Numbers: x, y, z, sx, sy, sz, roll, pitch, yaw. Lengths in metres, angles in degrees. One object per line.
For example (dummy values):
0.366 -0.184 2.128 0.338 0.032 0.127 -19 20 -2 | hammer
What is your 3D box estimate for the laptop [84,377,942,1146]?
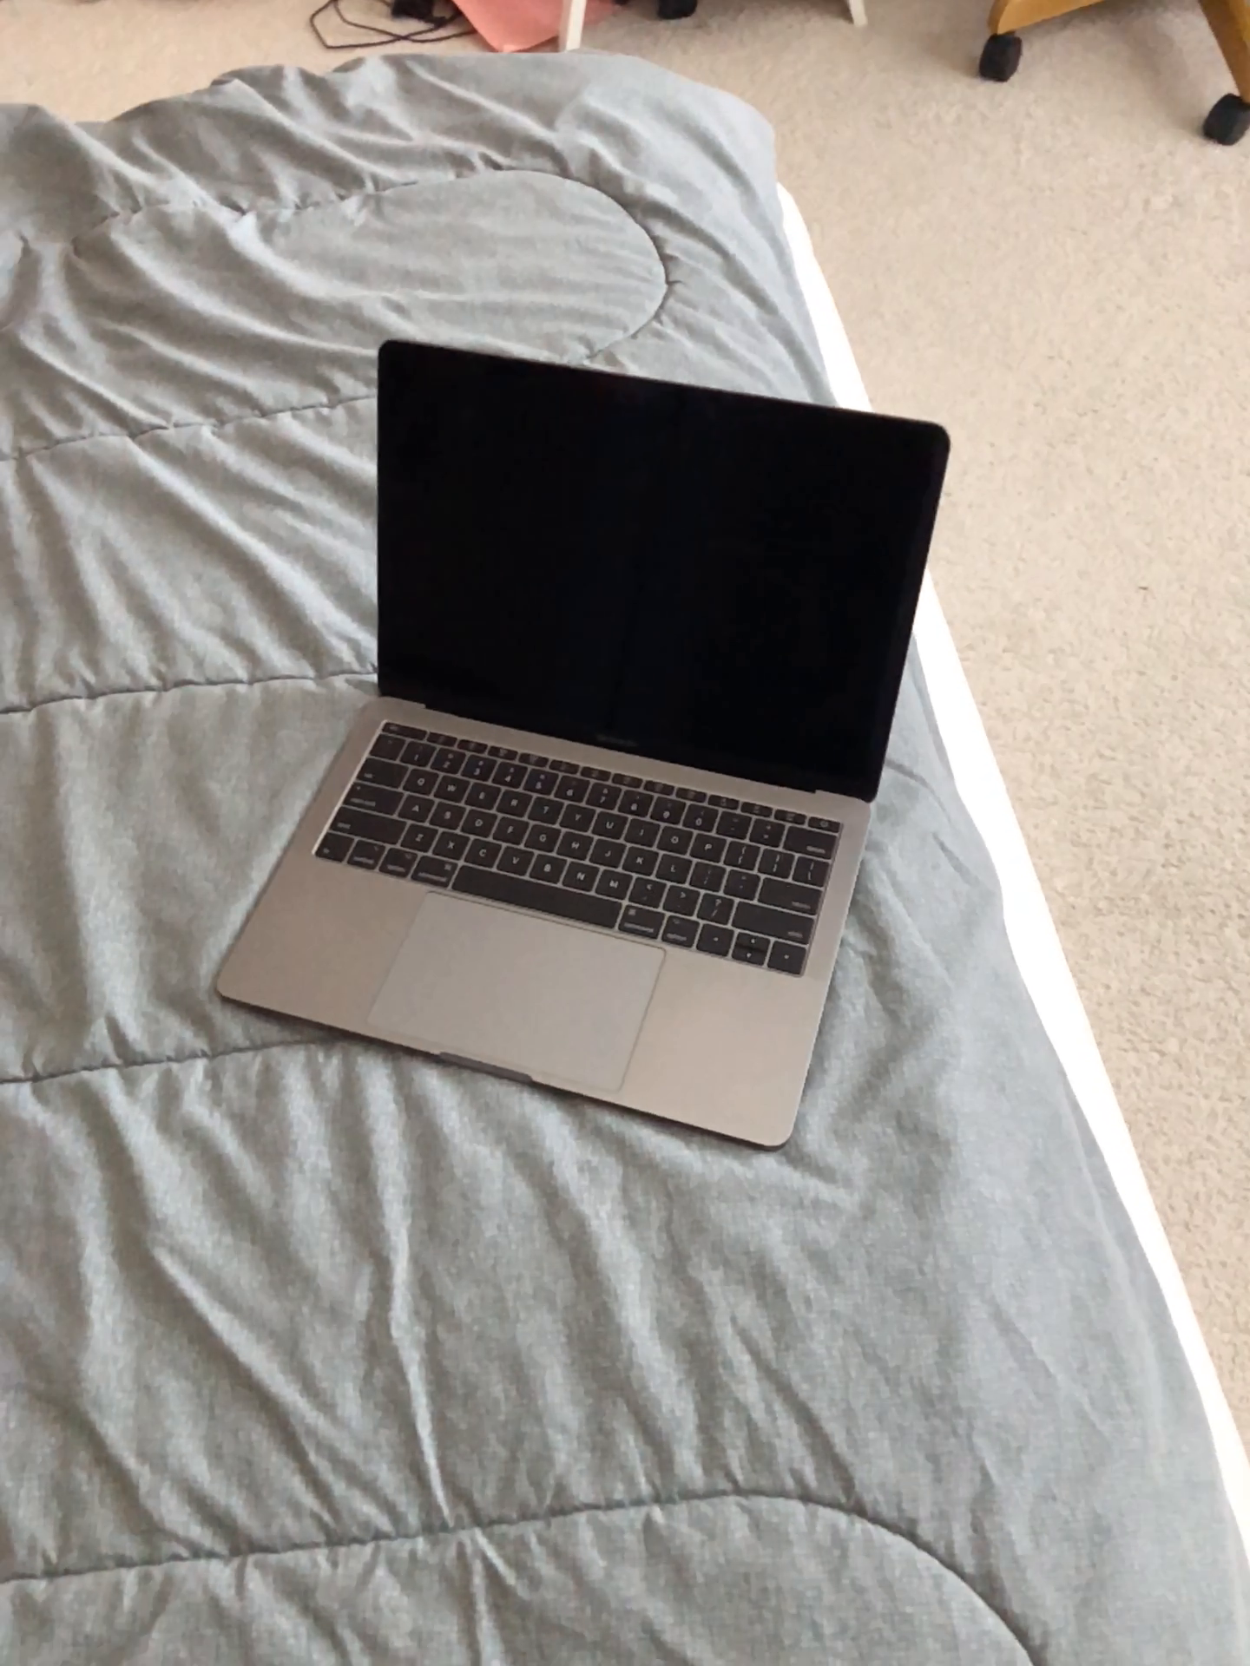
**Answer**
-0.026 -0.044 0.644 0.279 0.159 0.282 13 57 12 | laptop
